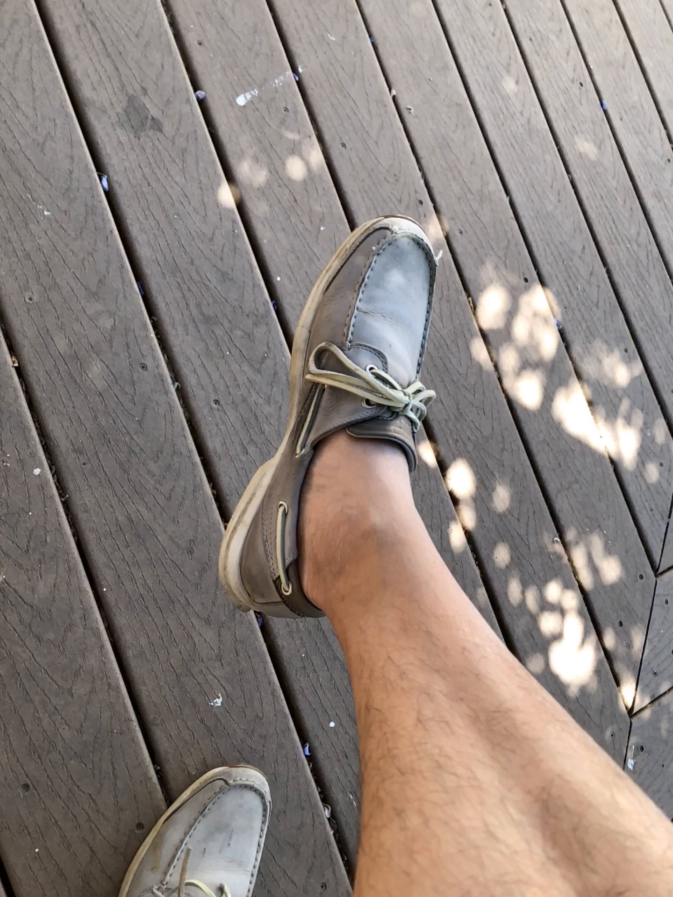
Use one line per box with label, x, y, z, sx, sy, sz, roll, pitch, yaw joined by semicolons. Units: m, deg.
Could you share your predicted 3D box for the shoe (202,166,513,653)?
shoe;0.016;-0.026;0.535;0.115;0.085;0.306;21;80;-22
